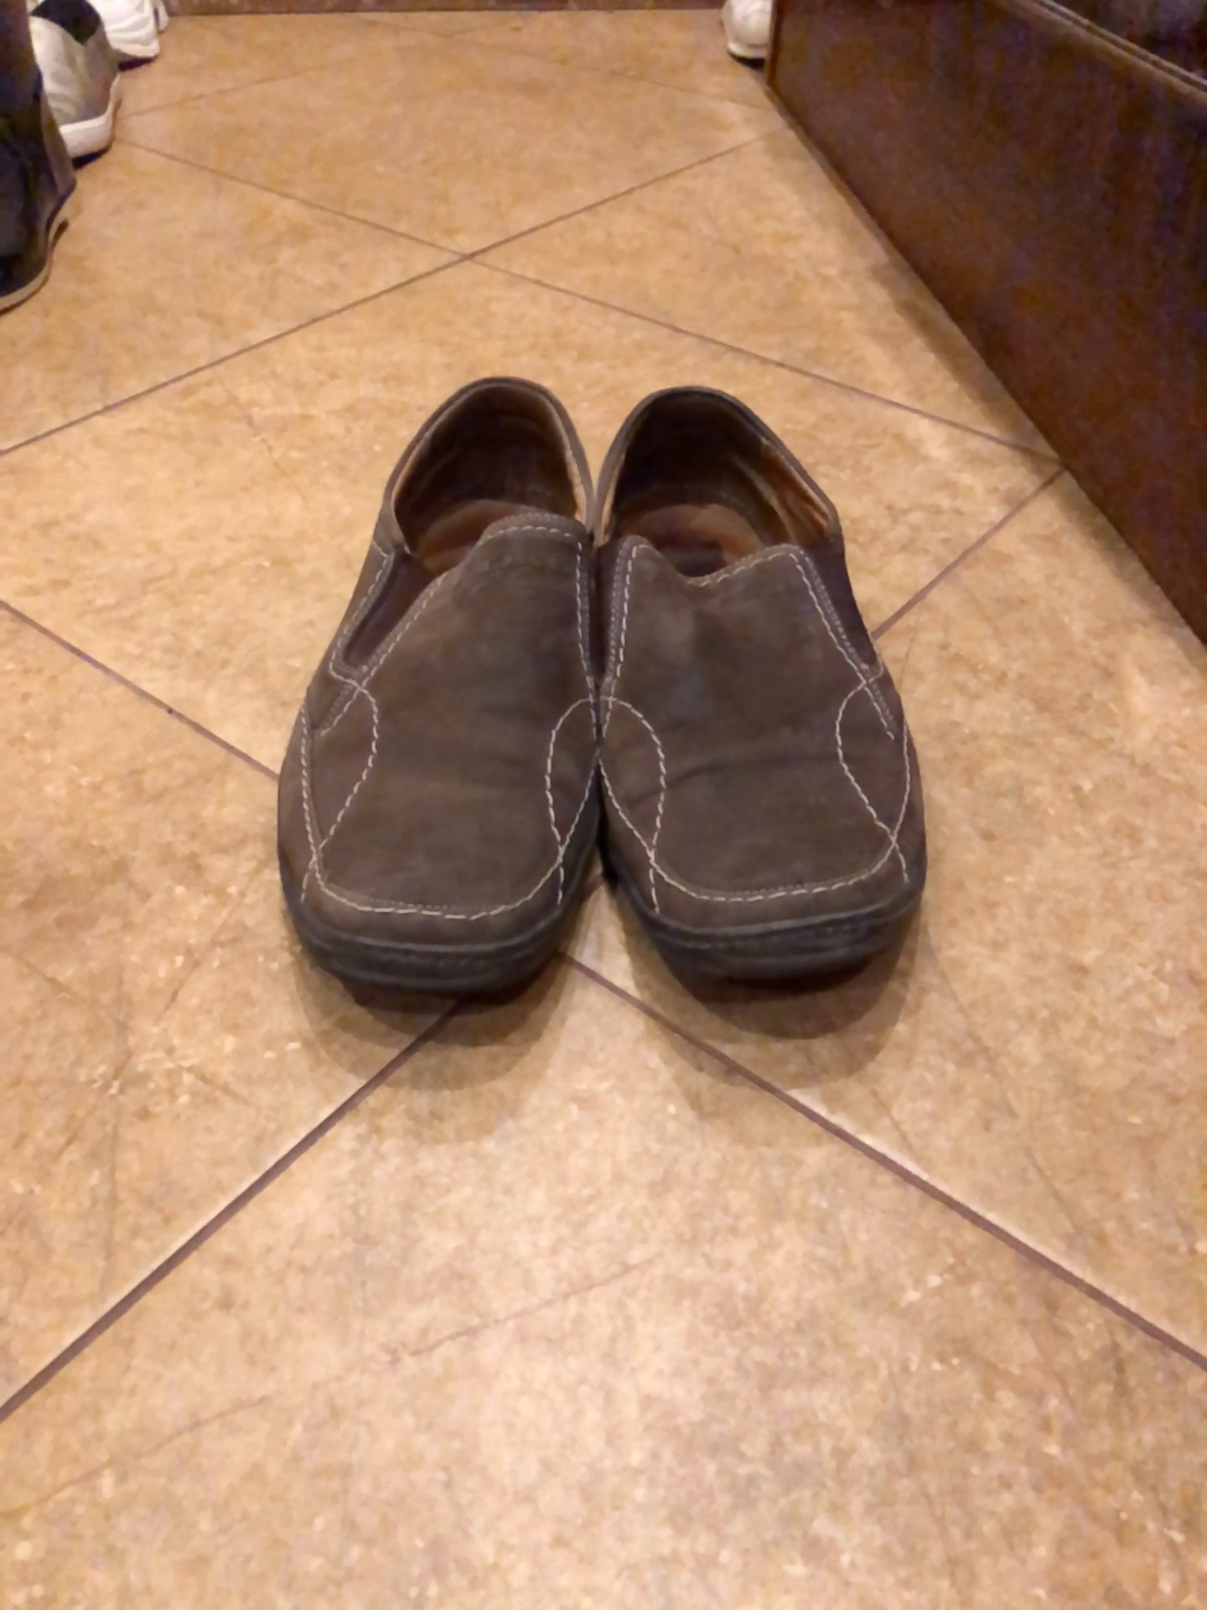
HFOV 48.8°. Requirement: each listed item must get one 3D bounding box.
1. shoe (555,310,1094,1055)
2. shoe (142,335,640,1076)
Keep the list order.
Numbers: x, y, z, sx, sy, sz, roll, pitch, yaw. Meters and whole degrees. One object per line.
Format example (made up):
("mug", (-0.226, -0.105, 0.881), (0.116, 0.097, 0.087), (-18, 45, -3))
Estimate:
("shoe", (0.049, -0.066, 0.459), (0.120, 0.089, 0.302), (-2, 42, -3))
("shoe", (-0.055, -0.058, 0.463), (0.120, 0.089, 0.302), (0, 42, -1))
